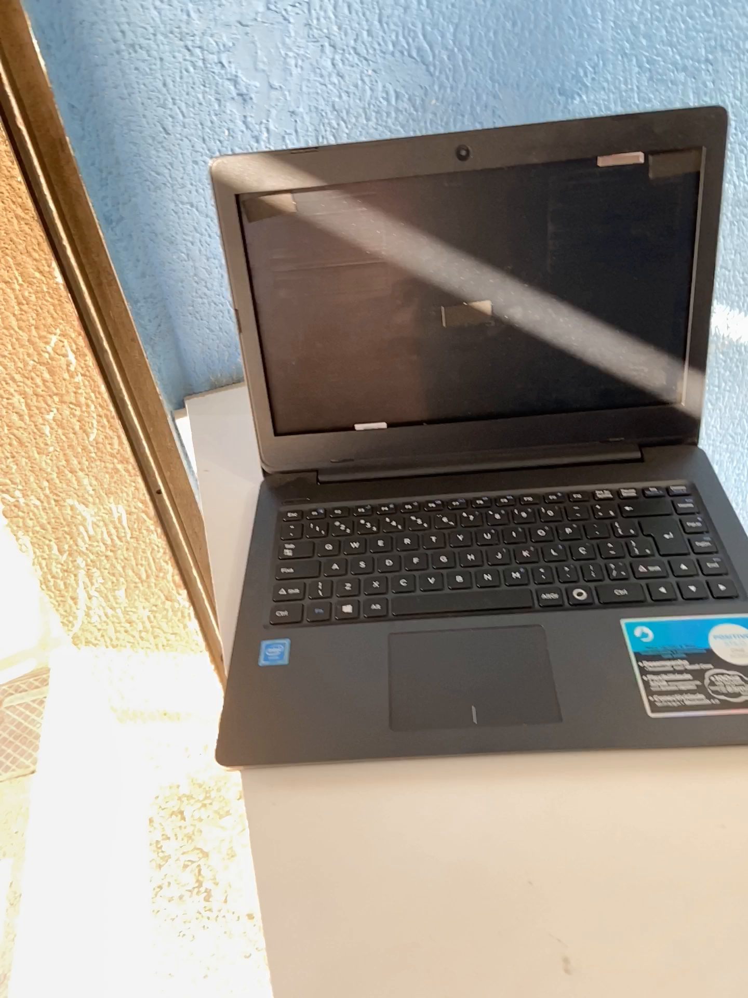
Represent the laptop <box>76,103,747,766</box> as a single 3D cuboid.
[{"bbox_3d":[0.070,-0.052,0.457,0.337,0.214,0.311,-4,43,4],"label":"laptop"}]
